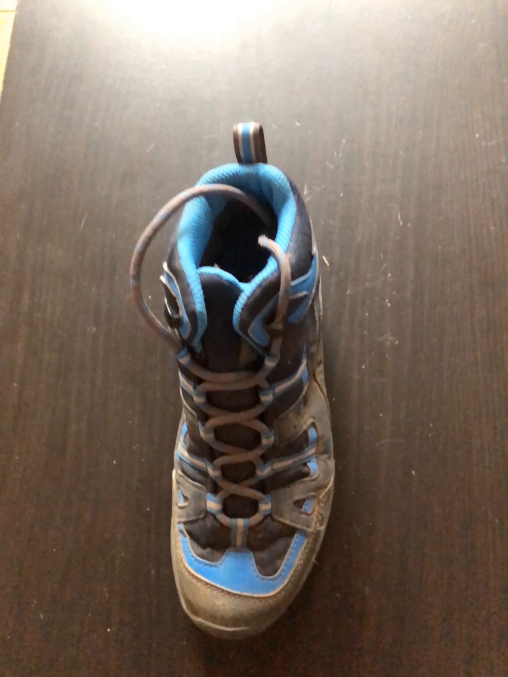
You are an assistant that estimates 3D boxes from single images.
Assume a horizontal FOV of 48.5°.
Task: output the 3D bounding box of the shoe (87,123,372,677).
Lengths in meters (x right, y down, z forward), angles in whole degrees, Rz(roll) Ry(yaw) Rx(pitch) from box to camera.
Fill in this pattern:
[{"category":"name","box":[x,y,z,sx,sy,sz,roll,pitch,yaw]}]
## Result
[{"category":"shoe","box":[-0.001,0.035,0.296,0.100,0.120,0.250,3,78,5]}]
